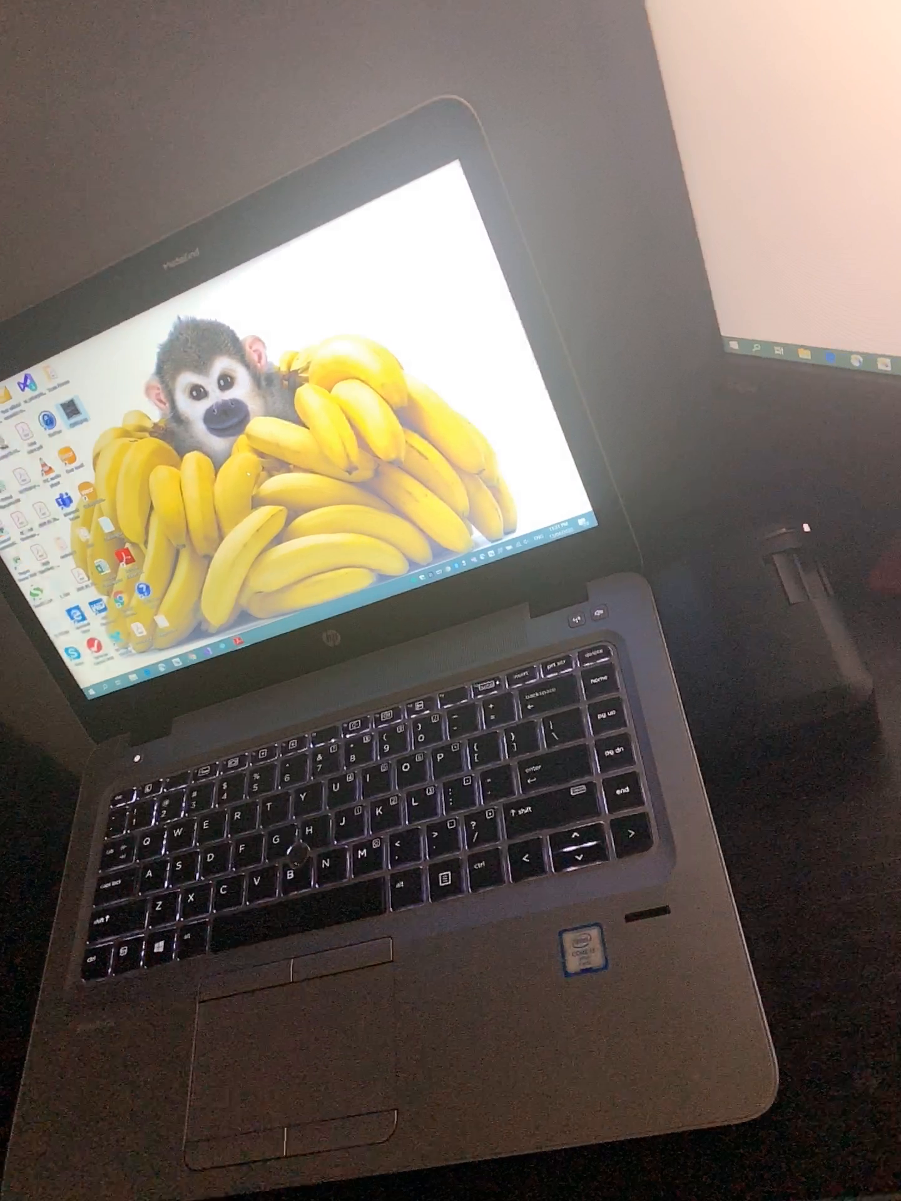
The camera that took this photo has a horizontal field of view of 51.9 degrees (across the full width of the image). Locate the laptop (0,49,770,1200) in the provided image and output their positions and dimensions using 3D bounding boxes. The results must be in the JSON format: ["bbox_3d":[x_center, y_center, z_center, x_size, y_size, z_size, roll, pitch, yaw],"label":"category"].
[{"bbox_3d":[-0.094,0.016,0.377,0.318,0.191,0.327,-19,47,17],"label":"laptop"}]
